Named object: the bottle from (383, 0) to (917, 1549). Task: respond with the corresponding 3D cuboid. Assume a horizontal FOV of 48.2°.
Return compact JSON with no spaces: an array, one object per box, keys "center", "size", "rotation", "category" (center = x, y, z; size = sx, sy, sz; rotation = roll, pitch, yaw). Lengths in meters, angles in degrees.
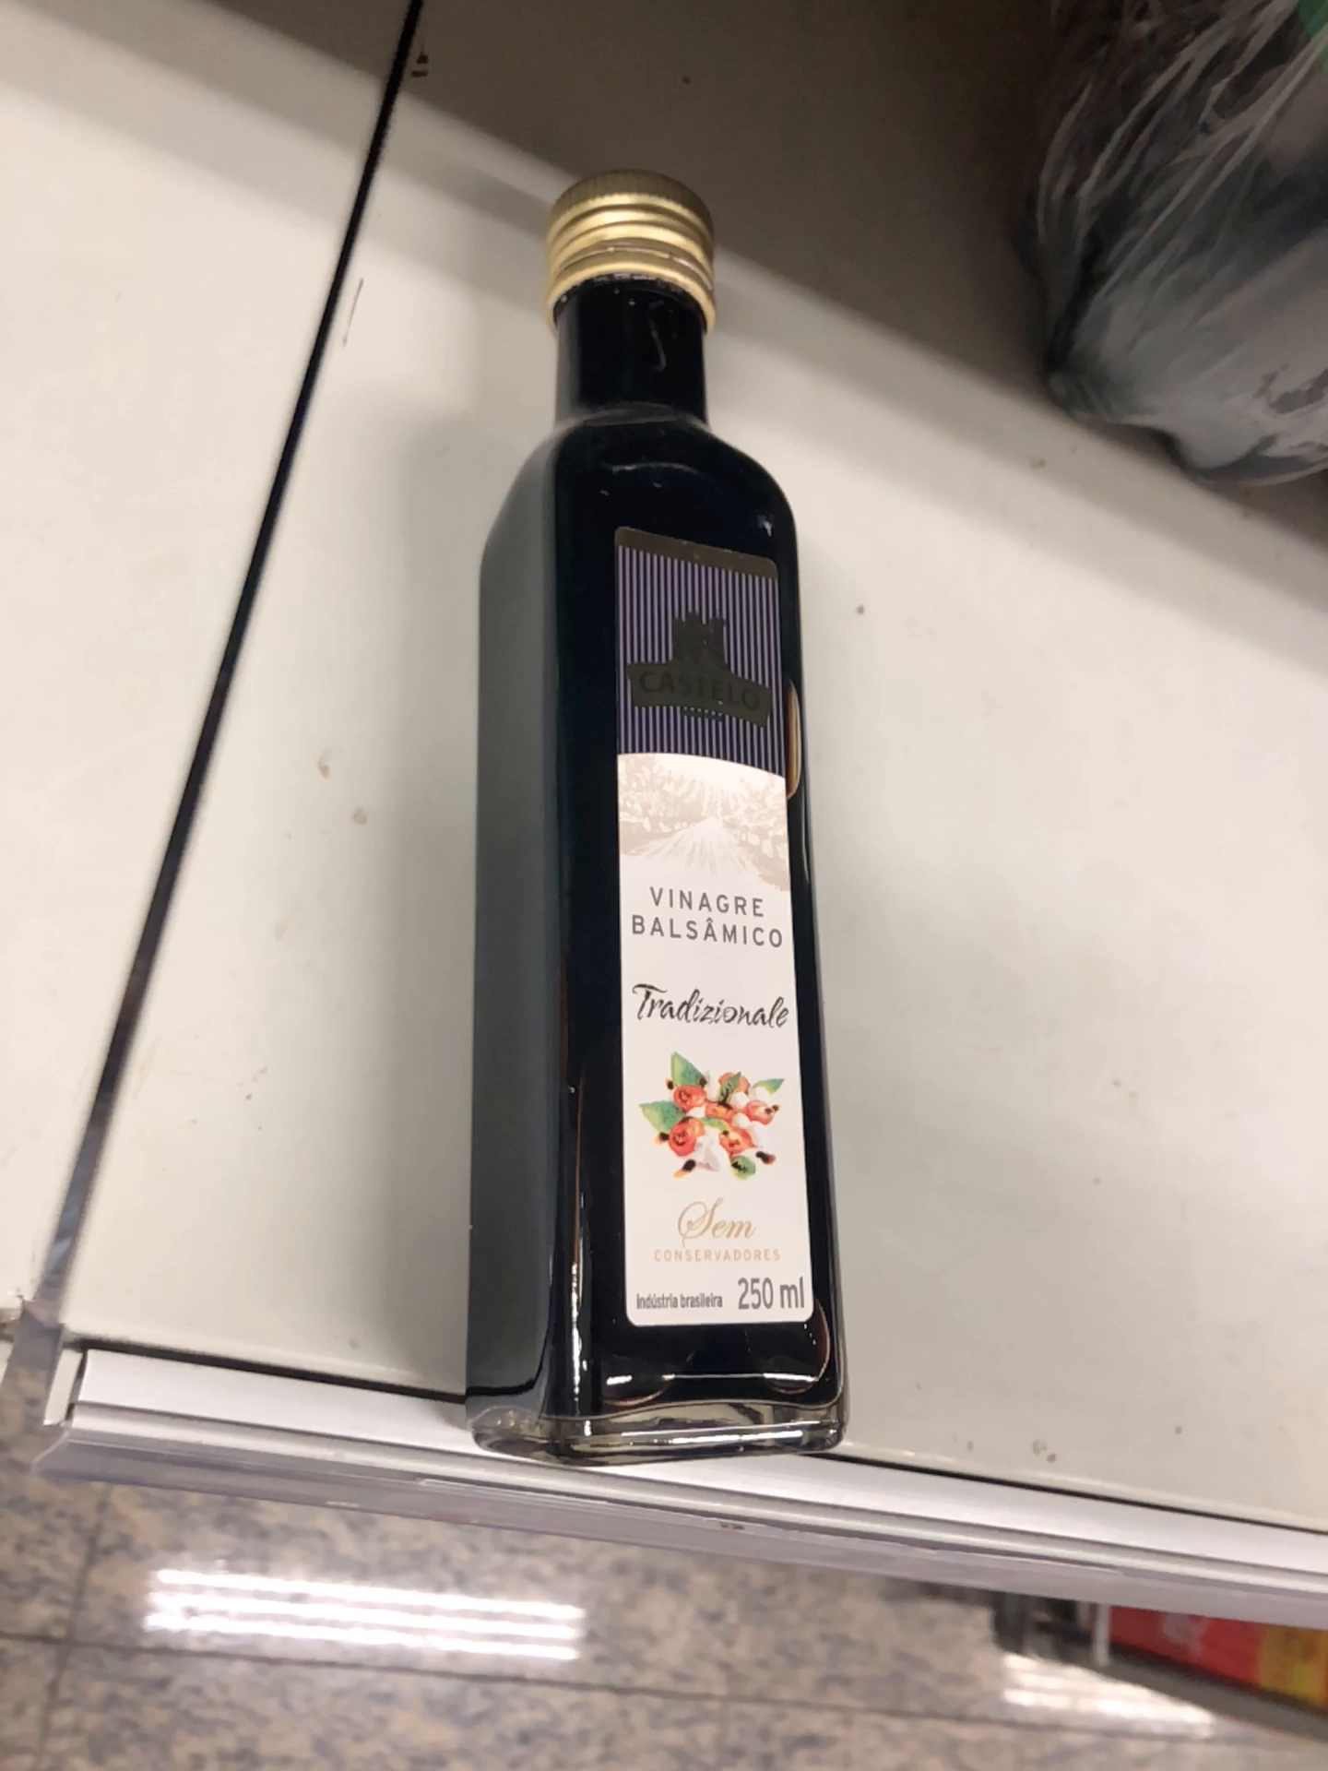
[{"center":[-0.007,-0.031,0.251],"size":[0.060,0.060,0.250],"rotation":[5,75,-25],"category":"bottle"}]
